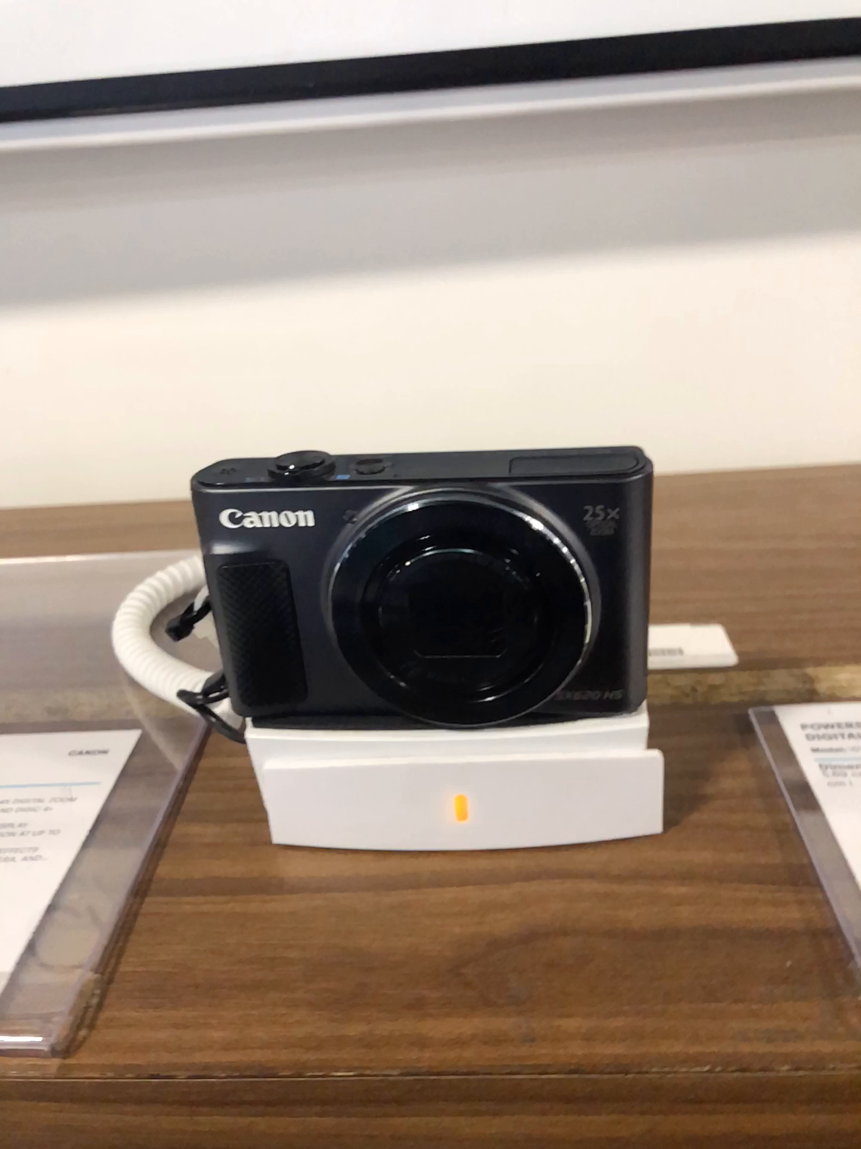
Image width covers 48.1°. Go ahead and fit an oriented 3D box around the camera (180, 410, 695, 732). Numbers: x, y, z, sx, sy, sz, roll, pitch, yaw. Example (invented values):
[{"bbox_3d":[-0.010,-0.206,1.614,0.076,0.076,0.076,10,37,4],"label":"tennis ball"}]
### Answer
[{"bbox_3d":[0.003,0.000,0.212,0.100,0.060,0.030,-2,23,5],"label":"camera"}]
